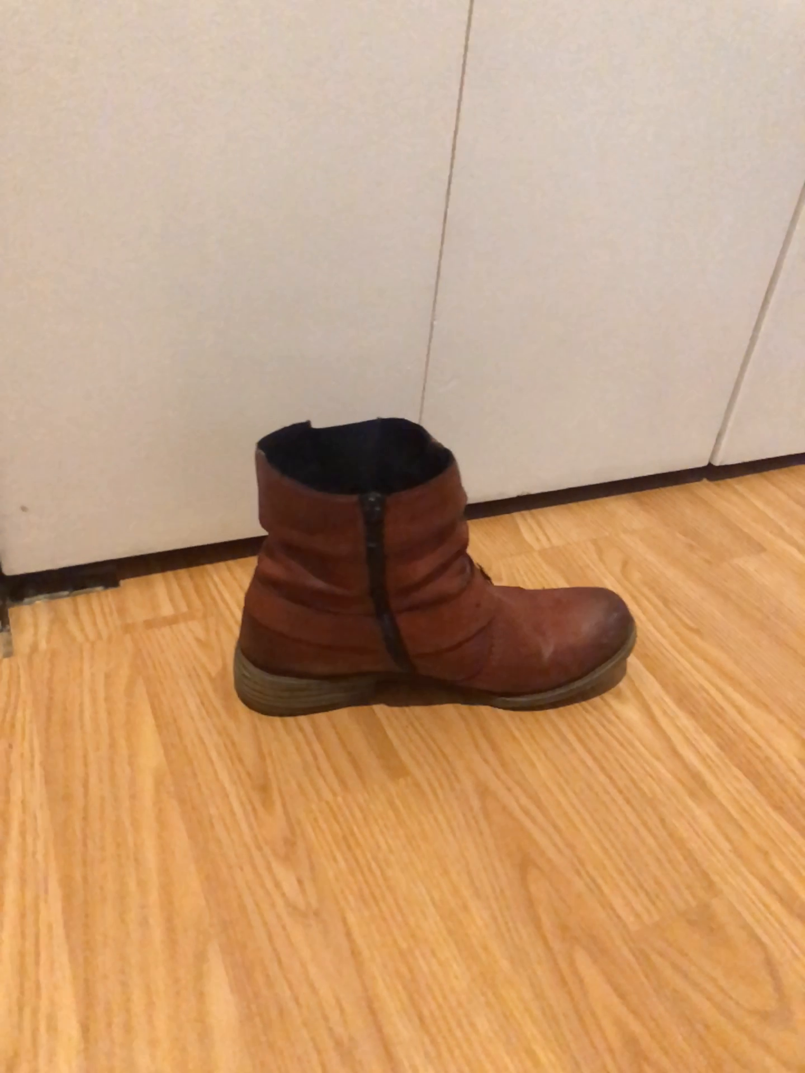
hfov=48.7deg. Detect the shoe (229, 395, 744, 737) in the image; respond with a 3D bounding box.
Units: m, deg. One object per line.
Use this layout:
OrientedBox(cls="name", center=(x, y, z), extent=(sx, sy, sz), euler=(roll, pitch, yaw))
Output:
OrientedBox(cls="shoe", center=(0.034, 0.015, 0.538), extent=(0.270, 0.169, 0.100), euler=(-1, 34, -12))
